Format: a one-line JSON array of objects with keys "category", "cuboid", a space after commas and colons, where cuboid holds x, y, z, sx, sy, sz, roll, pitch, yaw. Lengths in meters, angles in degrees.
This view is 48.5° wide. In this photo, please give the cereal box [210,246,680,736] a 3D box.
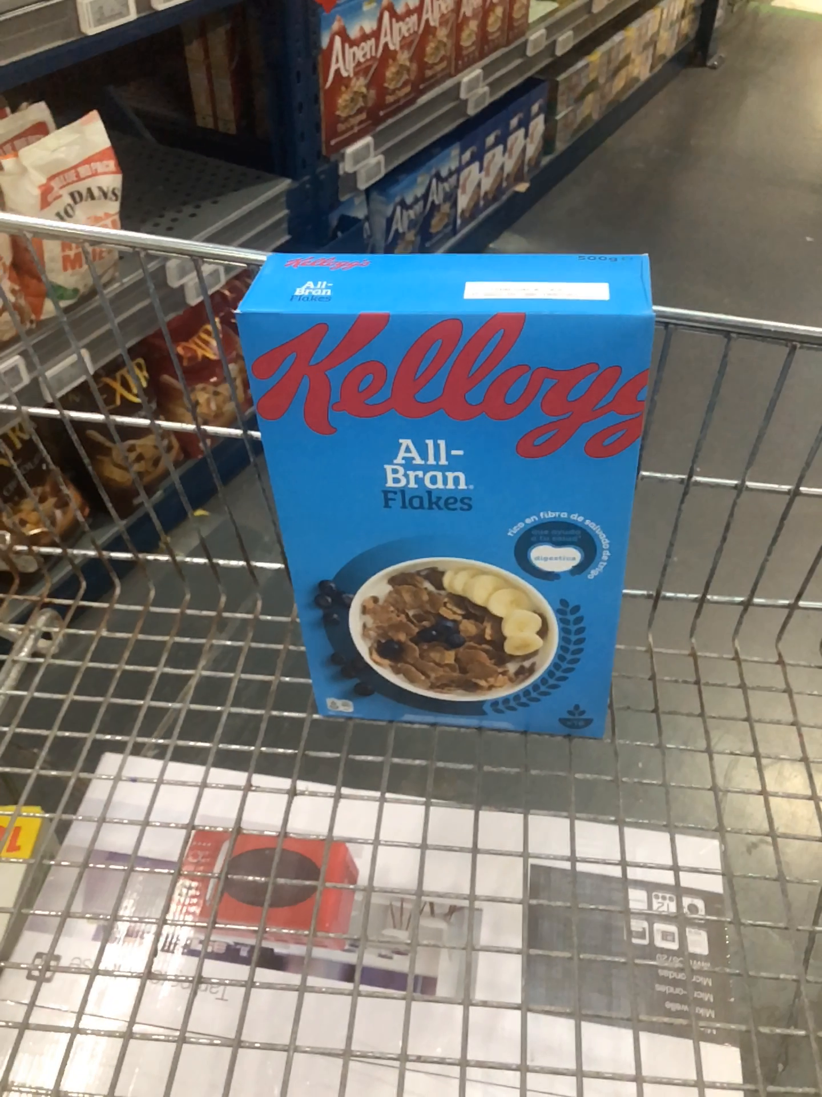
[{"category": "cereal box", "cuboid": [0.020, -0.019, 0.505, 0.200, 0.269, 0.080, 2, 41, 6]}]
